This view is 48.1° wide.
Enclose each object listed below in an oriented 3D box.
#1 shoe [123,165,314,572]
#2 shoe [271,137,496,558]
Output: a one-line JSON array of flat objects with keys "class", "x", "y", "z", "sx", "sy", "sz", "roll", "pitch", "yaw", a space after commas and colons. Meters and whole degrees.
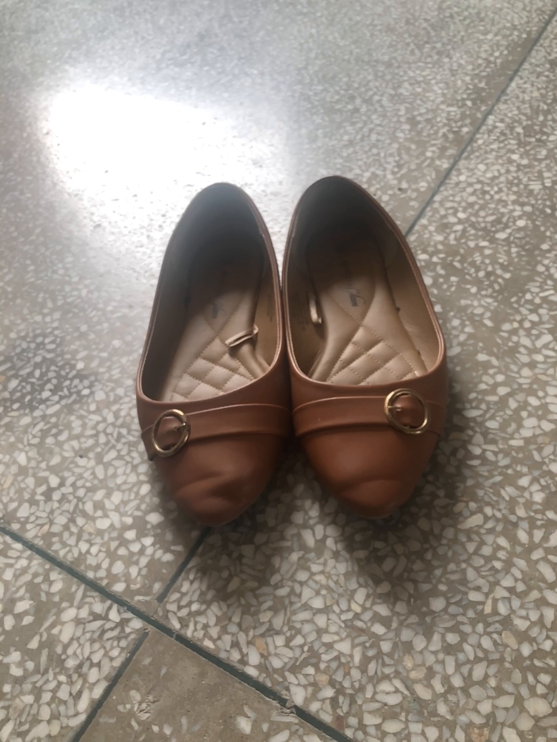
[{"class": "shoe", "x": -0.039, "y": -0.012, "z": 0.393, "sx": 0.090, "sy": 0.050, "sz": 0.251, "roll": -10, "pitch": 61, "yaw": 10}, {"class": "shoe", "x": 0.053, "y": -0.025, "z": 0.377, "sx": 0.090, "sy": 0.050, "sz": 0.251, "roll": -10, "pitch": 61, "yaw": 10}]
